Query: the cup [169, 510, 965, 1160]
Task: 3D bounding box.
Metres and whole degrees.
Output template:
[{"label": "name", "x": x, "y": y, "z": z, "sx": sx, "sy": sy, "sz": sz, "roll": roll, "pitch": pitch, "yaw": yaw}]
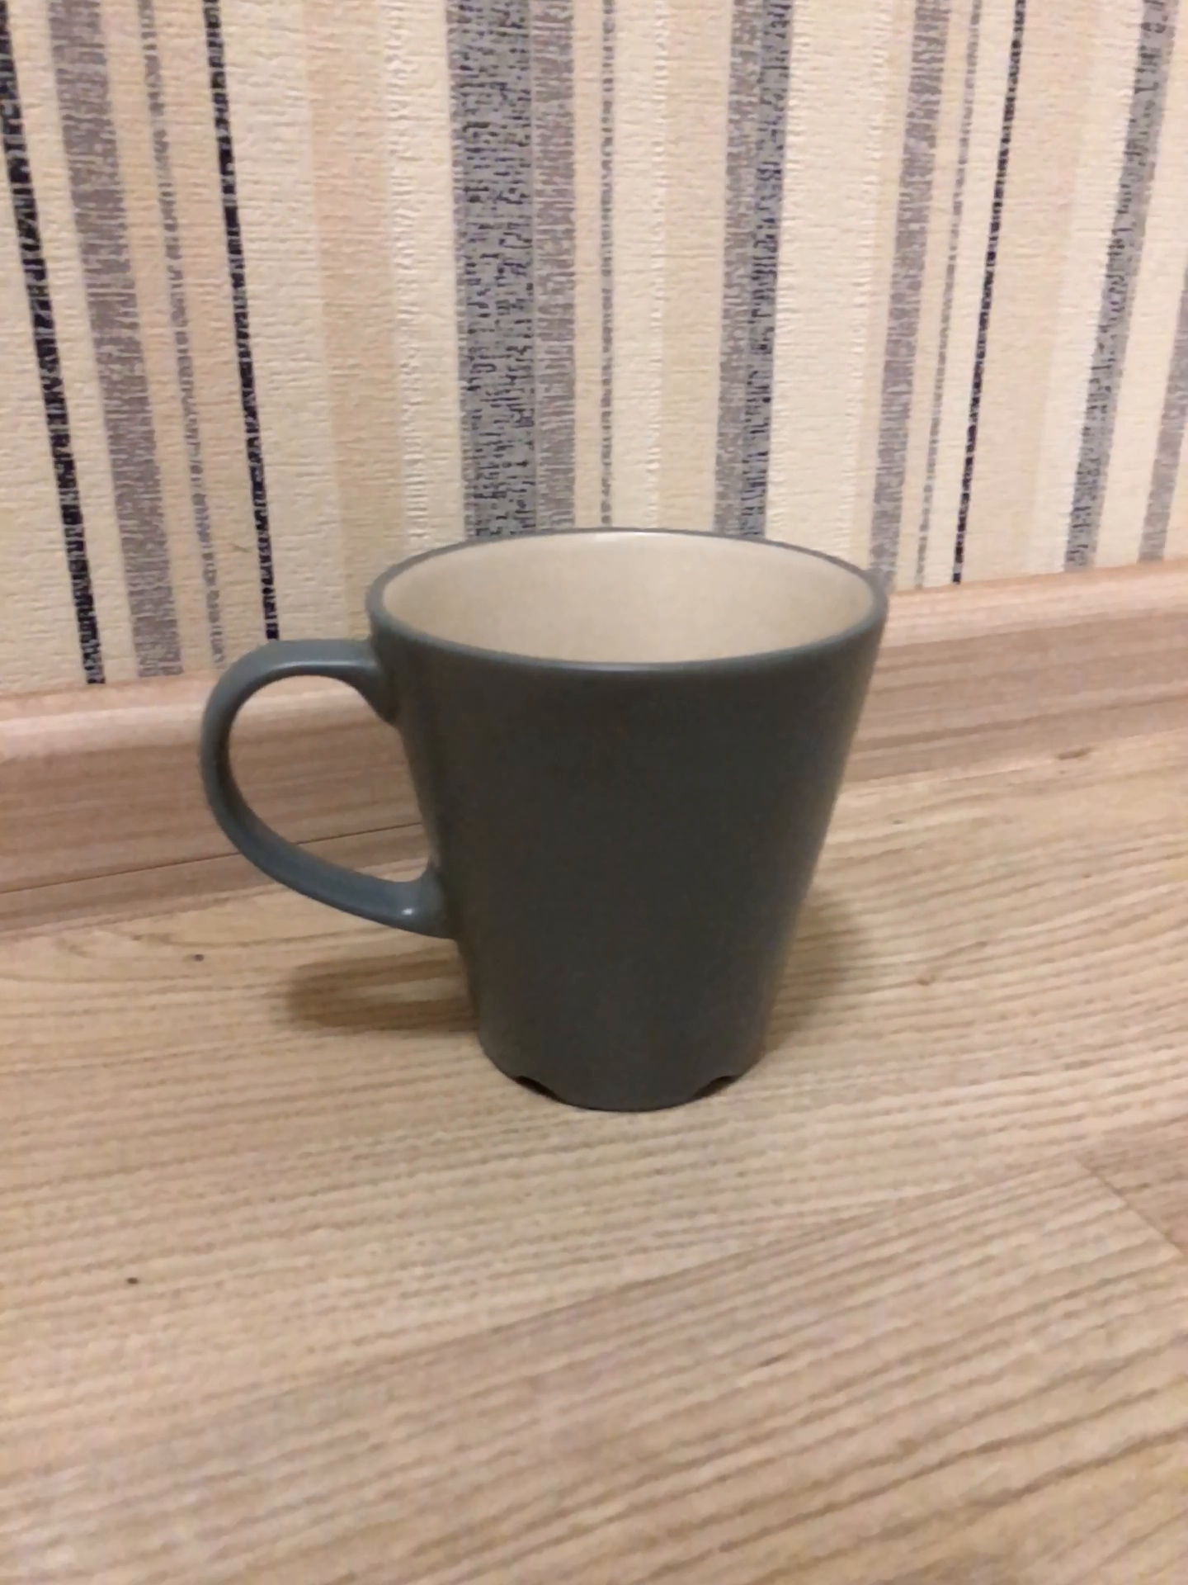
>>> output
[{"label": "cup", "x": -0.010, "y": -0.001, "z": 0.262, "sx": 0.124, "sy": 0.089, "sz": 0.096, "roll": -4, "pitch": 23, "yaw": -10}]
